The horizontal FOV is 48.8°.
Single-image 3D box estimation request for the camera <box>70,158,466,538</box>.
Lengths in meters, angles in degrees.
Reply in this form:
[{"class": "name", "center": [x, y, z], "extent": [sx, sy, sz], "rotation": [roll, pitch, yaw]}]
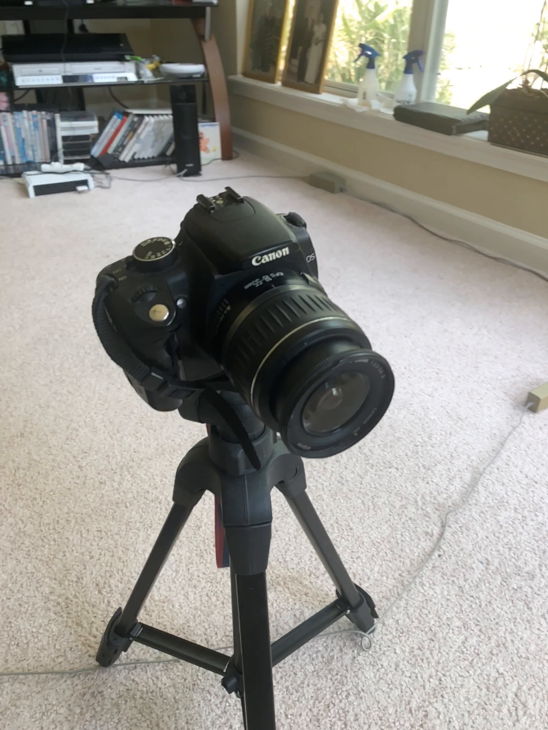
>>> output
[{"class": "camera", "center": [-0.008, -0.021, 0.311], "extent": [0.130, 0.093, 0.143], "rotation": [-24, 46, -21]}]
